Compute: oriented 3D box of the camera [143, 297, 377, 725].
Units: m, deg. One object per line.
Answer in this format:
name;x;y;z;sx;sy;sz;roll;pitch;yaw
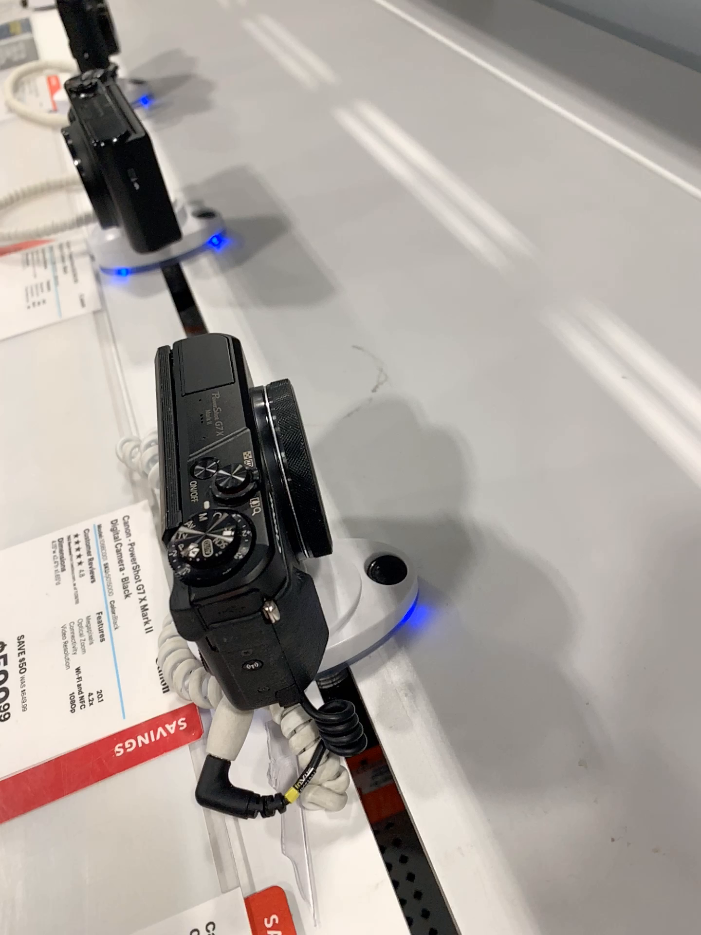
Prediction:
camera;-0.030;0.008;0.223;0.044;0.060;0.111;-15;47;-3
